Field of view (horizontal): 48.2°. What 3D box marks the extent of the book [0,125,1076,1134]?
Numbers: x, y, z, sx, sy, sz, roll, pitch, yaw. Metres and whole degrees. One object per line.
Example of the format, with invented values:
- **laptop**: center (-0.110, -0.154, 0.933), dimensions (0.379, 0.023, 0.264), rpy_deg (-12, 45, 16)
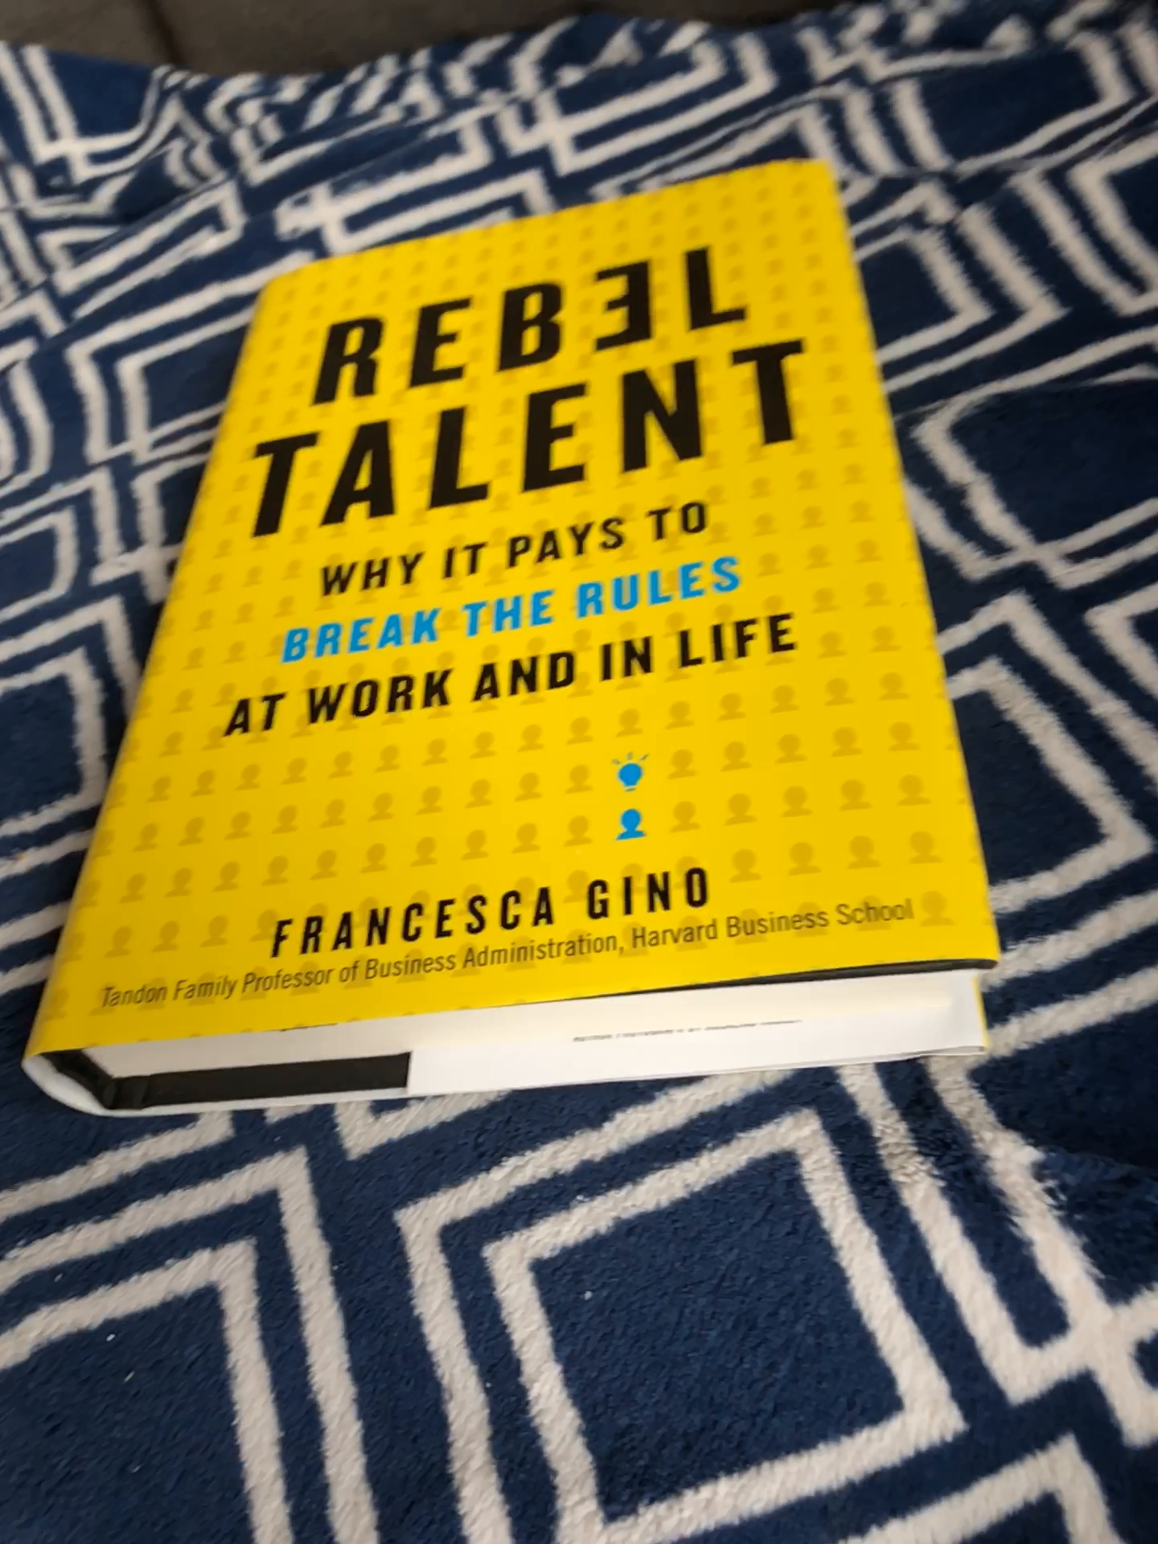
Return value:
- **book**: center (-0.011, -0.049, 0.272), dimensions (0.167, 0.032, 0.237), rpy_deg (-7, 50, 10)
